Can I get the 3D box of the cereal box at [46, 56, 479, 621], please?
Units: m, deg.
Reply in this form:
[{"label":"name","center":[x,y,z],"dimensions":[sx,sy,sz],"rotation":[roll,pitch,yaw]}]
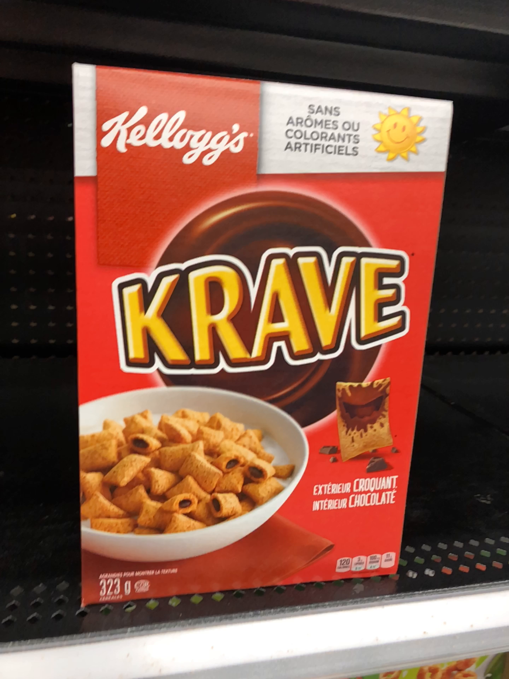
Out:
[{"label":"cereal box","center":[0.000,0.009,0.319],"dimensions":[0.210,0.279,0.050],"rotation":[0,13,-13]}]
